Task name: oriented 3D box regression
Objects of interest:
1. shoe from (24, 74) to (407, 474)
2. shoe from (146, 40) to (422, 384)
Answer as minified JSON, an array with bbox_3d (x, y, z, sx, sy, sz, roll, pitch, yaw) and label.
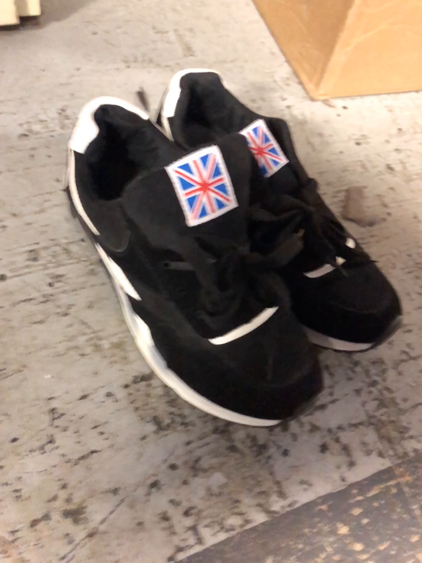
[{"bbox_3d":[-0.013,-0.009,0.319,0.100,0.119,0.230,-32,70,-26],"label":"shoe"},{"bbox_3d":[0.066,-0.061,0.374,0.110,0.109,0.241,-32,70,-26],"label":"shoe"}]
